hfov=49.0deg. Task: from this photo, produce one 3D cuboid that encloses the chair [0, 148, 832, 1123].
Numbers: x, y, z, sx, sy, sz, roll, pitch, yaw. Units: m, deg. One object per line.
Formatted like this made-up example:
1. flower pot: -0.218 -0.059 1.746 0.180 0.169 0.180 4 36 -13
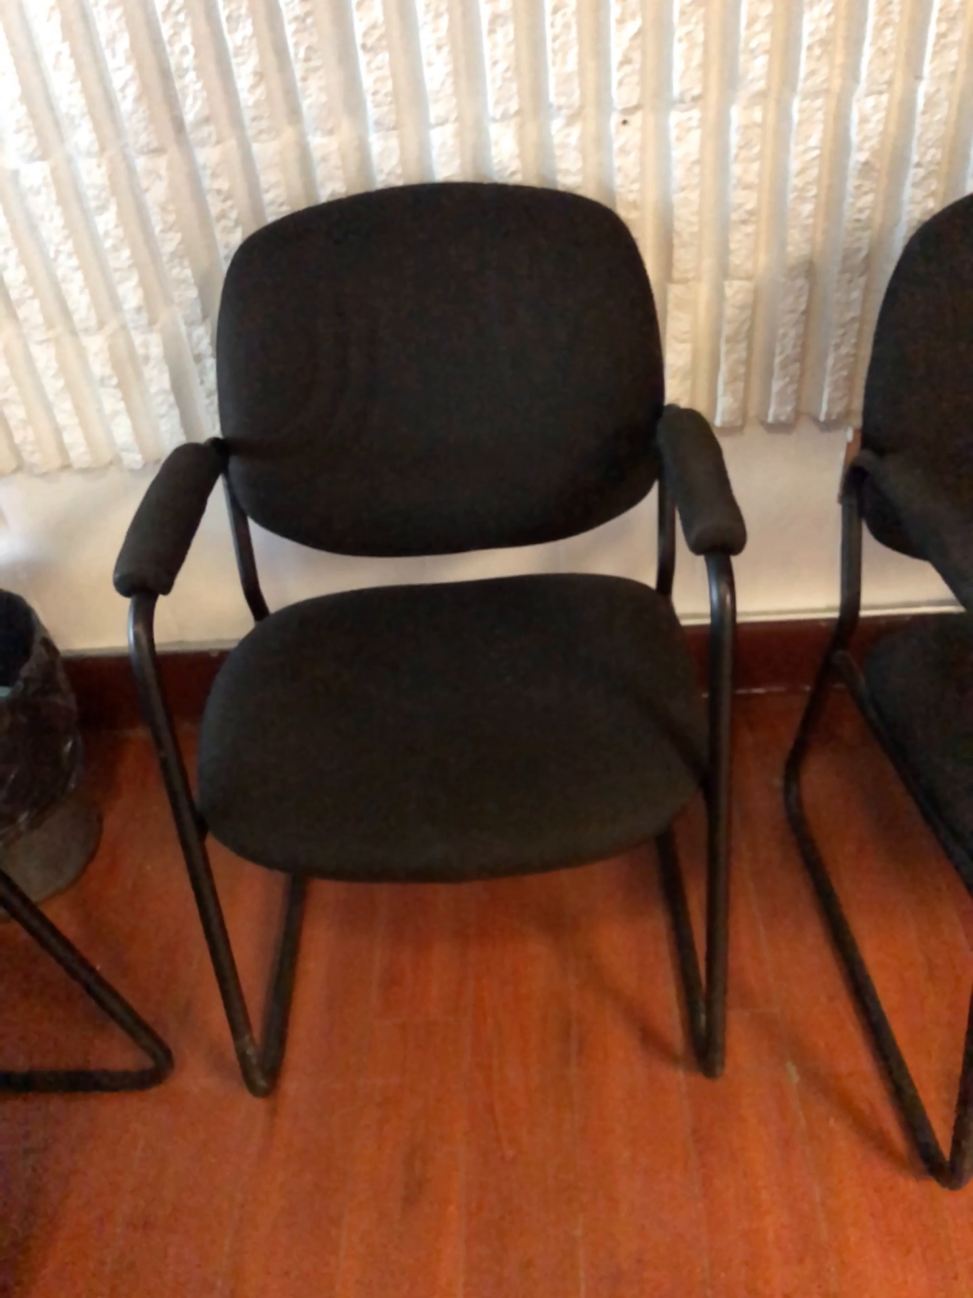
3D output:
1. chair: -0.035 -0.031 1.256 0.590 0.794 0.775 -4 39 3
